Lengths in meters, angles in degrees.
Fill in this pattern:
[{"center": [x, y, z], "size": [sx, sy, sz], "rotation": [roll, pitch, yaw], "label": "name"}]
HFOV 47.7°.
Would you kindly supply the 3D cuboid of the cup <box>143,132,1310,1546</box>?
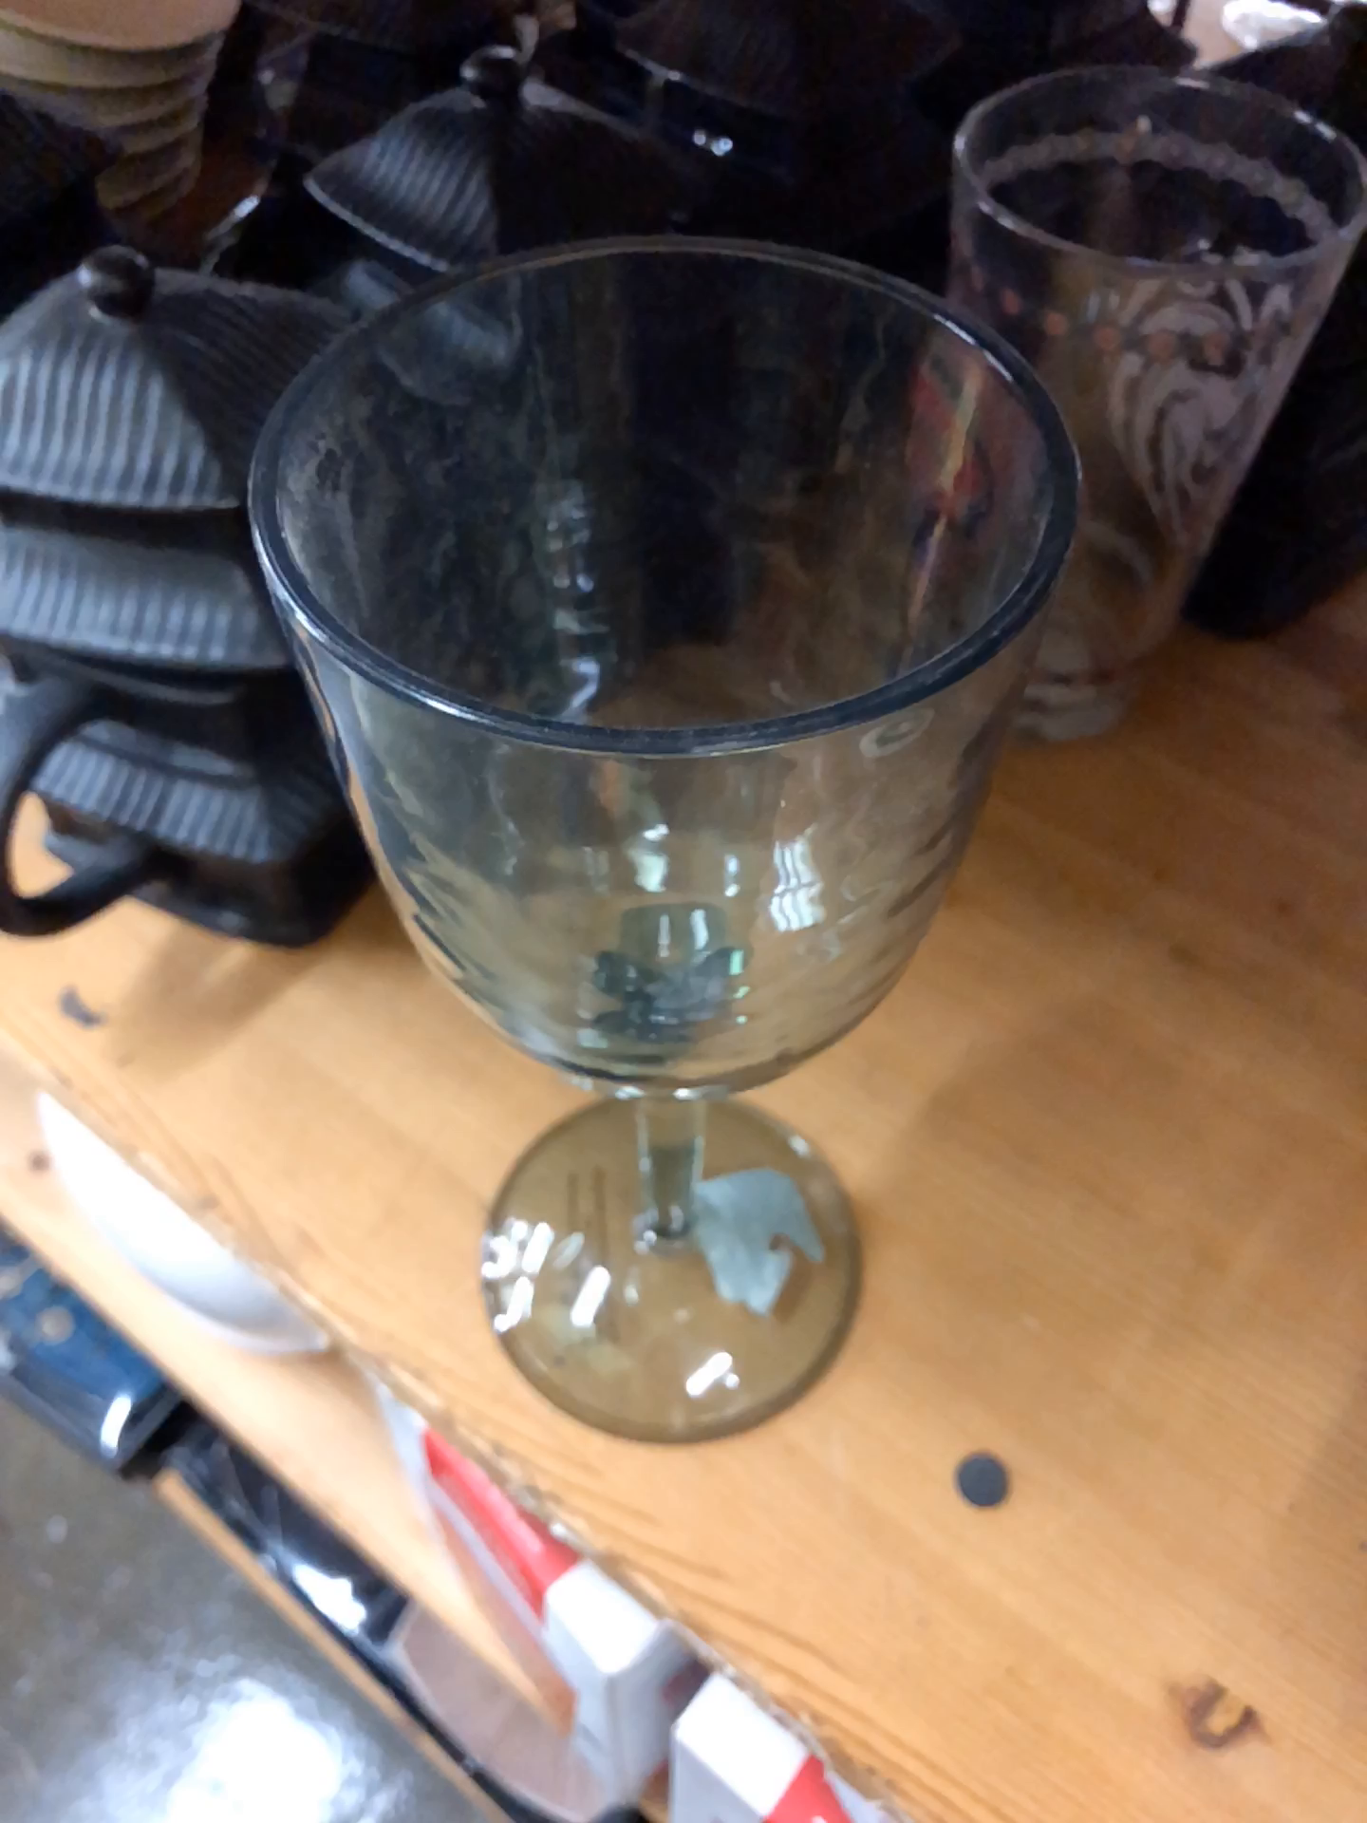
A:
[{"center": [0.003, 0.007, 0.254], "size": [0.094, 0.204, 0.091], "rotation": [0, 52, 0], "label": "cup"}]
